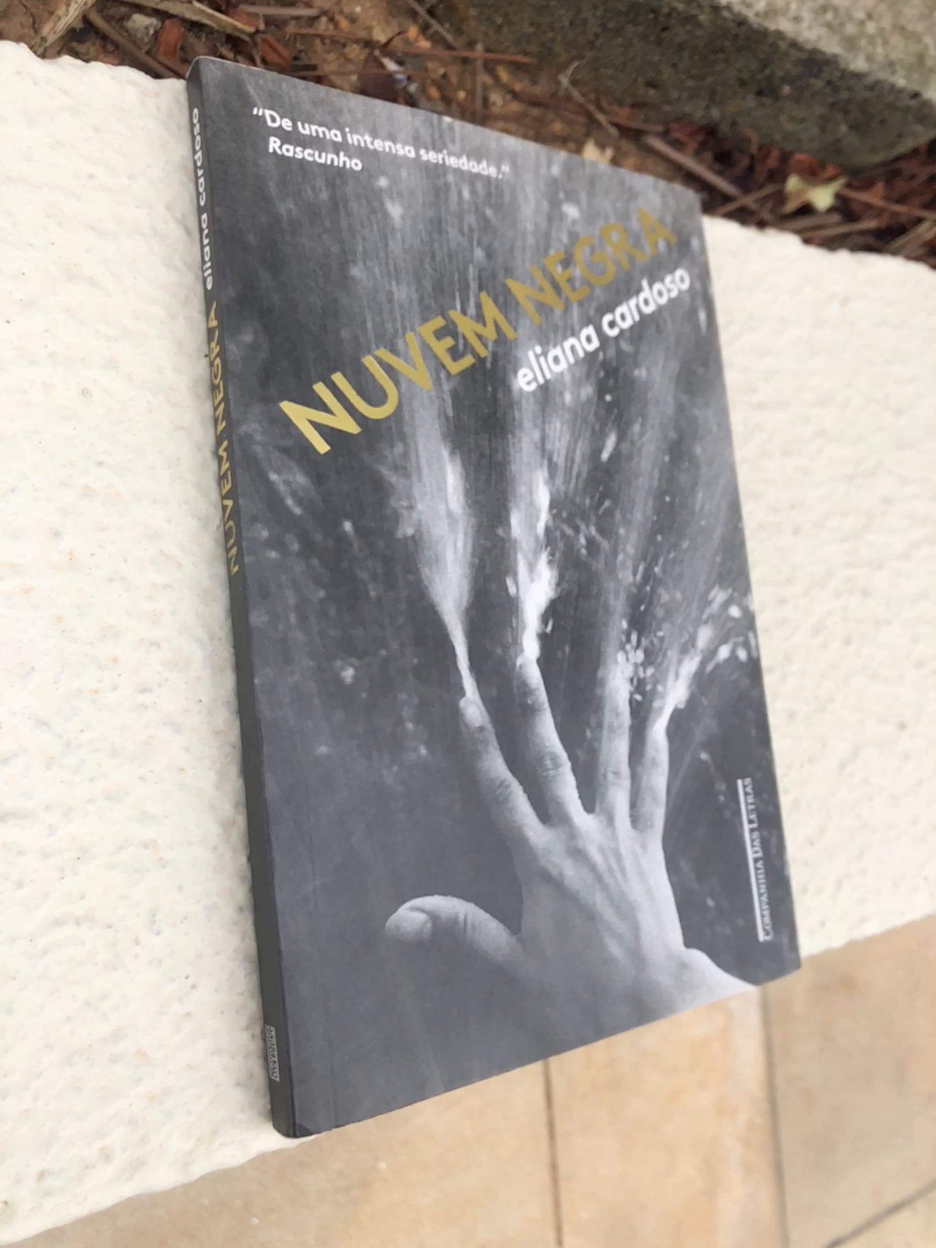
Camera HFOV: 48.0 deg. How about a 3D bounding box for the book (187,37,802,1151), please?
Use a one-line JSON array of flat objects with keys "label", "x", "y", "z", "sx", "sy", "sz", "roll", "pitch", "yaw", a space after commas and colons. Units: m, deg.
[{"label": "book", "x": 0.014, "y": -0.010, "z": 0.234, "sx": 0.141, "sy": 0.013, "sz": 0.200, "roll": -2, "pitch": 85, "yaw": -36}]
